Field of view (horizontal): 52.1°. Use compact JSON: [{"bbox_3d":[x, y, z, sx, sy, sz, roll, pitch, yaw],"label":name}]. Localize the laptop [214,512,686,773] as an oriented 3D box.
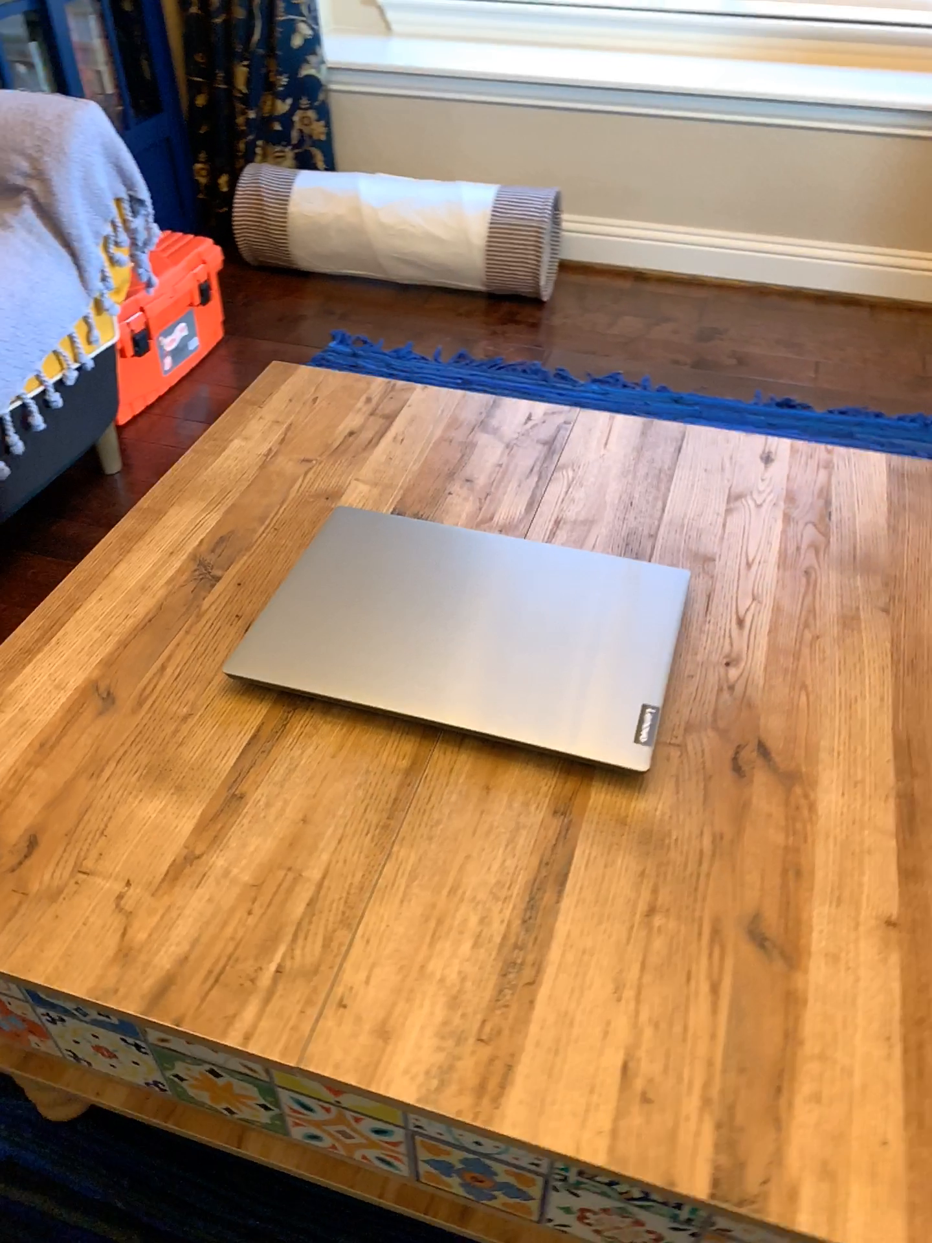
[{"bbox_3d":[-0.003,0.001,0.818,0.347,0.011,0.238,11,42,14],"label":"laptop"}]
